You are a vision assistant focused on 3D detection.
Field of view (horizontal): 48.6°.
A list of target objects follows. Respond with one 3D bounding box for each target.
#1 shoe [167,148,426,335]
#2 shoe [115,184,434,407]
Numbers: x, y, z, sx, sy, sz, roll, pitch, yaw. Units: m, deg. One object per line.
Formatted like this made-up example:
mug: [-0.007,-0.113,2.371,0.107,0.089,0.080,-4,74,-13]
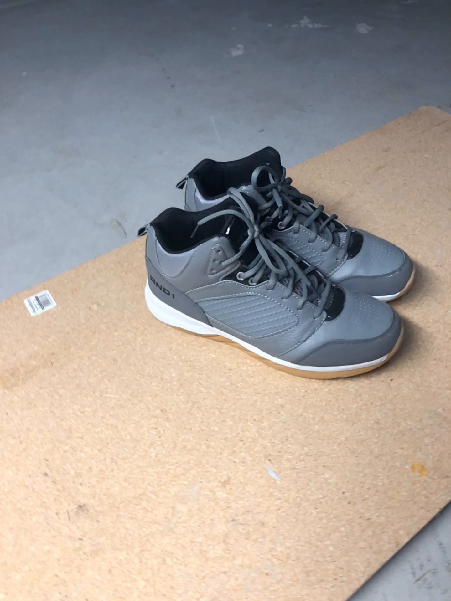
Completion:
shoe: [0.079,-0.072,0.590,0.260,0.140,0.100,14,50,14]
shoe: [0.046,-0.012,0.517,0.280,0.120,0.110,17,51,17]
